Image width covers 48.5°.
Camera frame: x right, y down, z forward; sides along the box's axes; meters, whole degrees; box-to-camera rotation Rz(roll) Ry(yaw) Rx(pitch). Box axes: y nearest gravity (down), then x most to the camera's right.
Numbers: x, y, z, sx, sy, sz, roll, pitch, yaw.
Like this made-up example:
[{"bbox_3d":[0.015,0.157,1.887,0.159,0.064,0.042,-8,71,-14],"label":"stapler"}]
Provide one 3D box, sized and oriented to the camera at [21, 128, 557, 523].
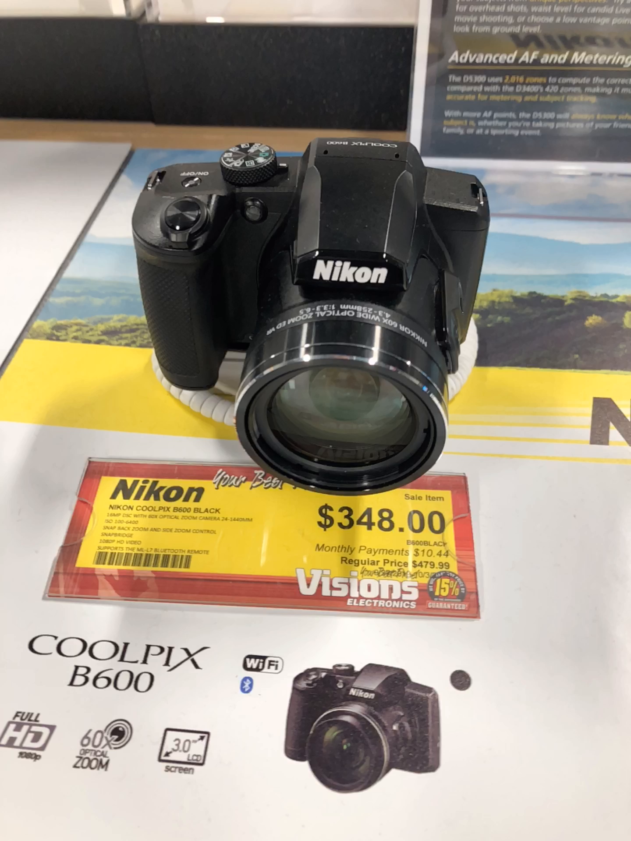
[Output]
[{"bbox_3d":[-0.002,-0.037,0.231,0.130,0.070,0.111,4,46,5],"label":"camera"}]
